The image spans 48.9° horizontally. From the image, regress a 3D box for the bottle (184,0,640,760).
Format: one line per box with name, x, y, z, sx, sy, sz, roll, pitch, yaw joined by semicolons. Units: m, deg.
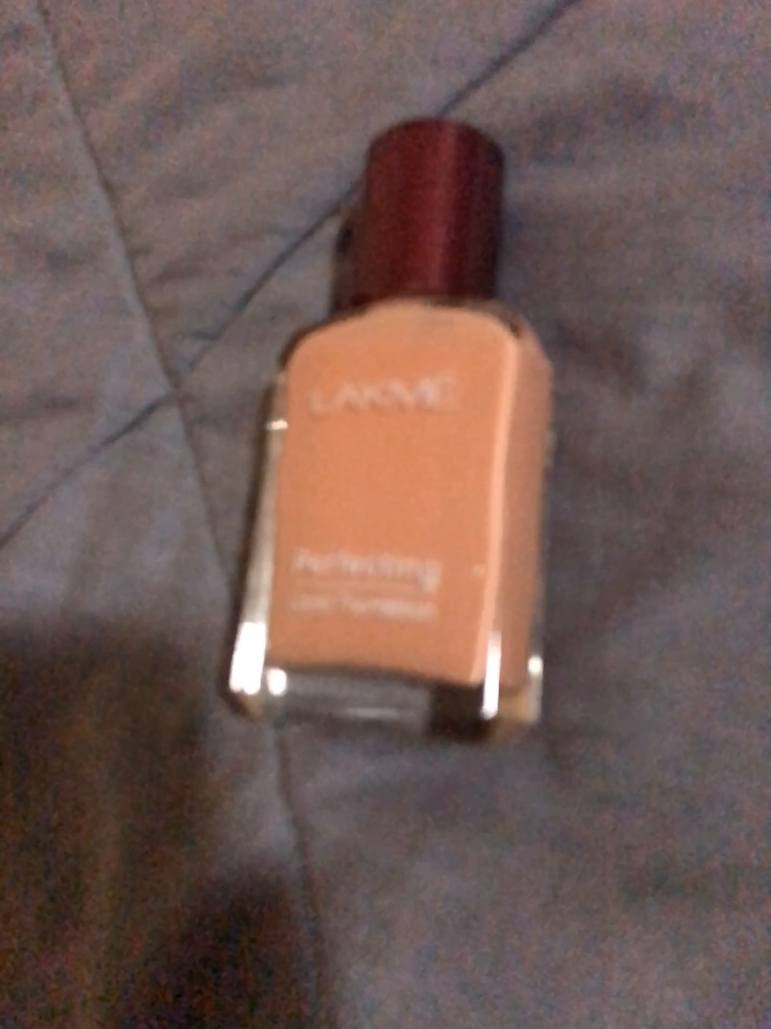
bottle;0.008;-0.022;0.132;0.050;0.030;0.110;2;75;24
